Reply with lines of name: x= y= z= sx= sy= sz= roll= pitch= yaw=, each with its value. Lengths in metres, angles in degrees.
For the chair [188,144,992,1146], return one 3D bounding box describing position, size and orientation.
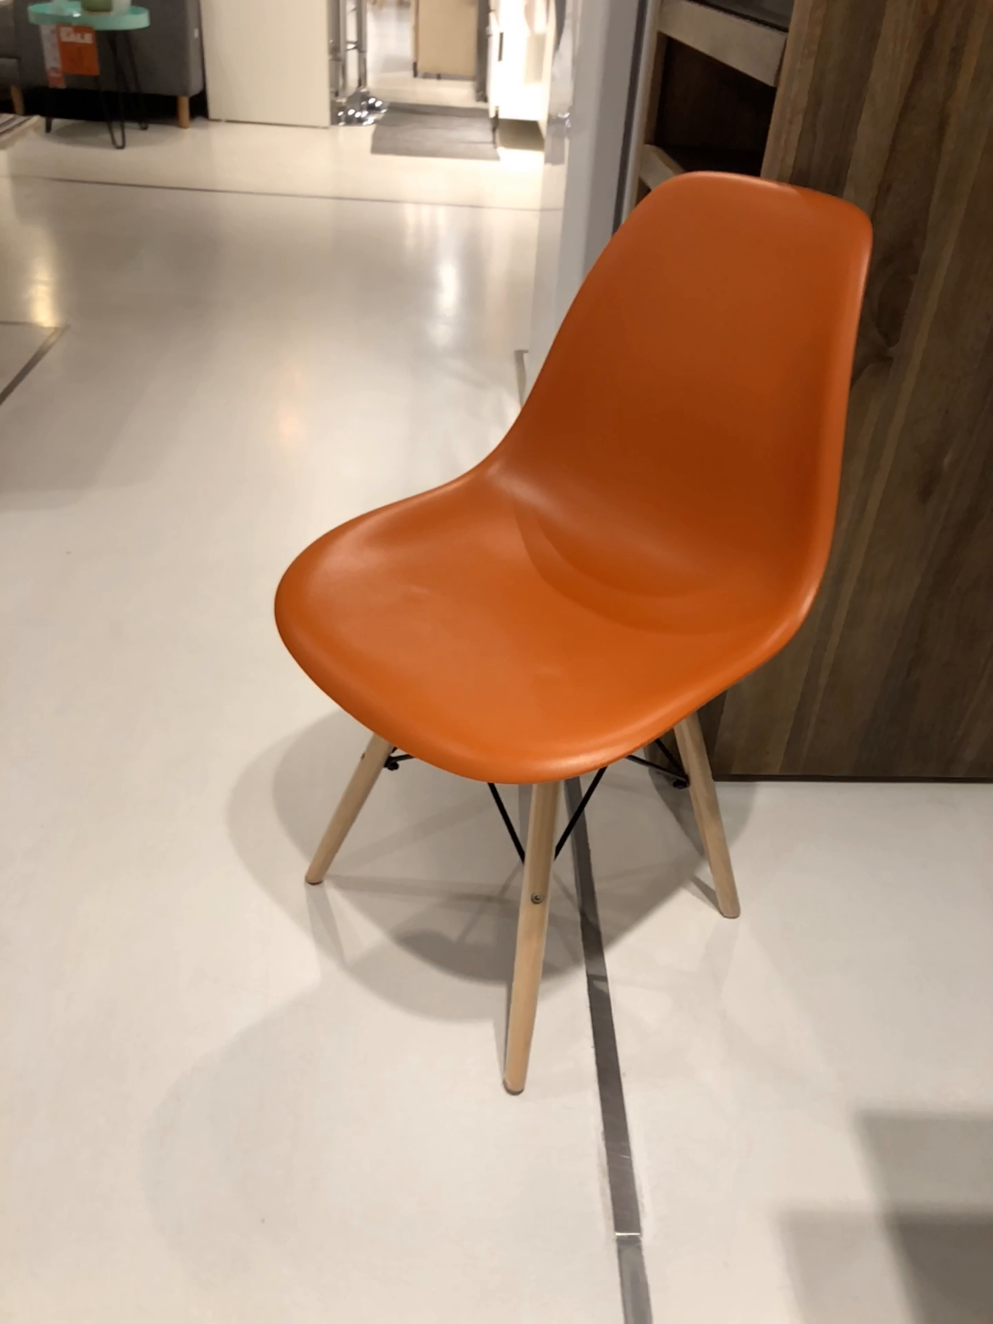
chair: x=0.102 y=-0.063 z=1.132 sx=0.583 sy=0.744 sz=0.492 roll=-25 pitch=45 yaw=-35
